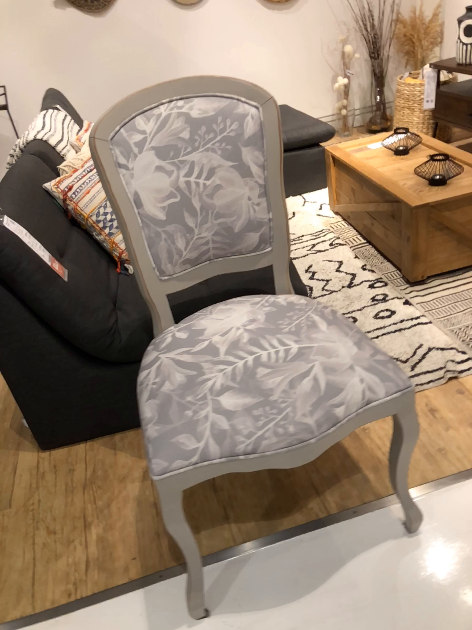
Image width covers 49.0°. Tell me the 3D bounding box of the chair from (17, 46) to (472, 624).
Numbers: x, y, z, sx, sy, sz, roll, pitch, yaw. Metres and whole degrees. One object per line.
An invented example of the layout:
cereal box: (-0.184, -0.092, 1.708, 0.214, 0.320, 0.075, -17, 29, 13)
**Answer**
chair: (0.039, 0.037, 1.079, 0.570, 0.943, 0.534, -16, 33, -8)
